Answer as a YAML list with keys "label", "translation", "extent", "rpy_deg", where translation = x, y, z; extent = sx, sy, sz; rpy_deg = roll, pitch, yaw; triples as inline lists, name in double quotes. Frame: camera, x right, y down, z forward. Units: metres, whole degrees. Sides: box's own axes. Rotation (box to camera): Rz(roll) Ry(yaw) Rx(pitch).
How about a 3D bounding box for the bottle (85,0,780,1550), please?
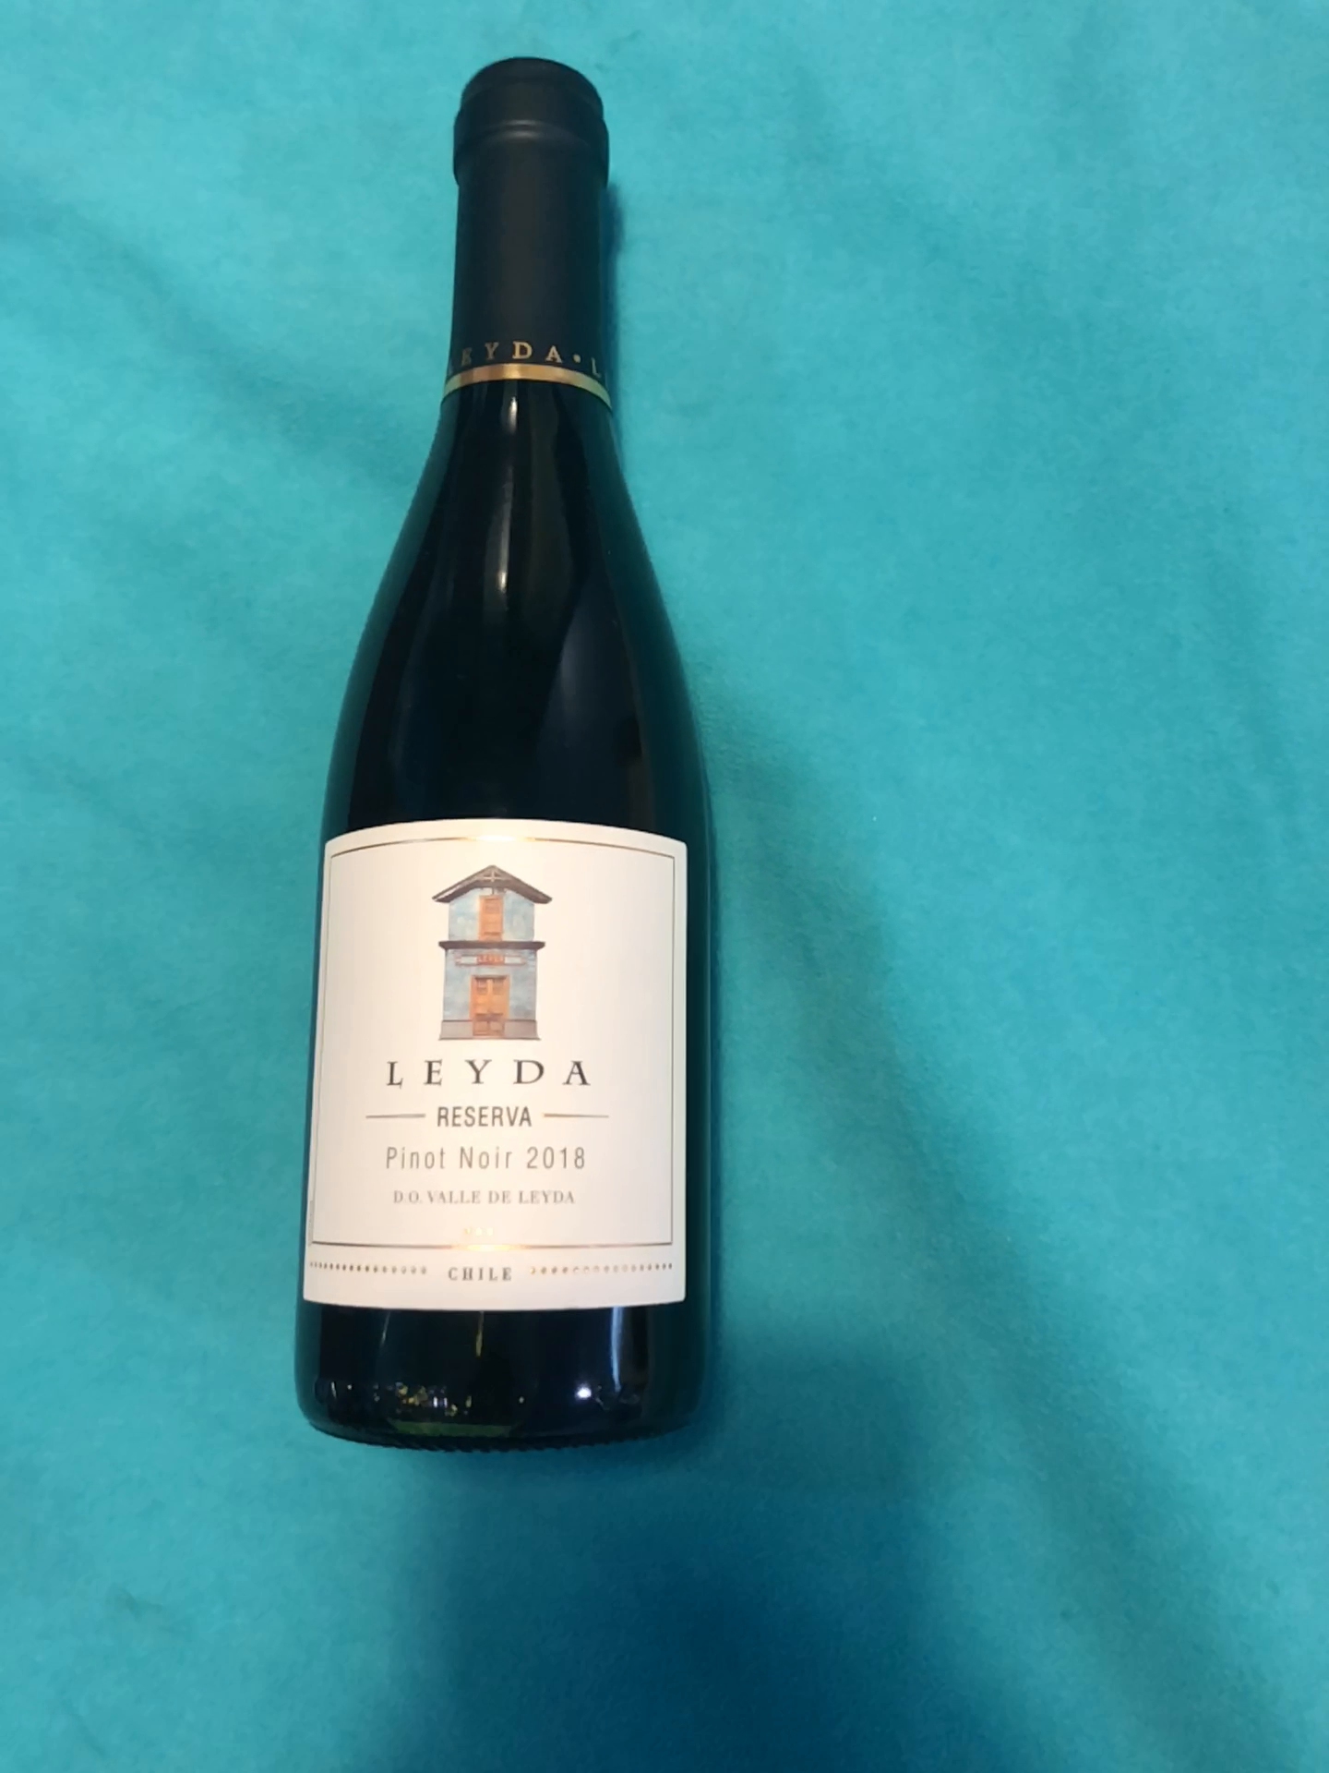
- label: "bottle"
  translation: [-0.024, -0.048, 0.232]
  extent: [0.070, 0.080, 0.260]
  rpy_deg: [1, 82, 9]
